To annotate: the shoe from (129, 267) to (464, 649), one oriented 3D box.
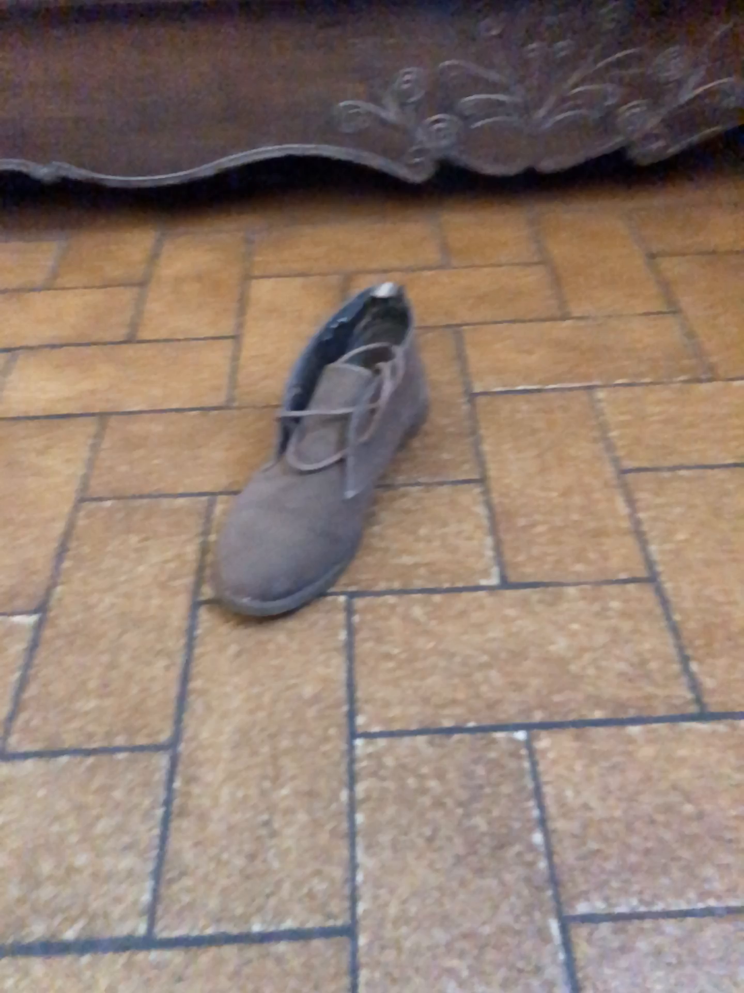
[{"bbox_3d":[-0.033,-0.040,0.547,0.100,0.099,0.251,18,49,19],"label":"shoe"}]
